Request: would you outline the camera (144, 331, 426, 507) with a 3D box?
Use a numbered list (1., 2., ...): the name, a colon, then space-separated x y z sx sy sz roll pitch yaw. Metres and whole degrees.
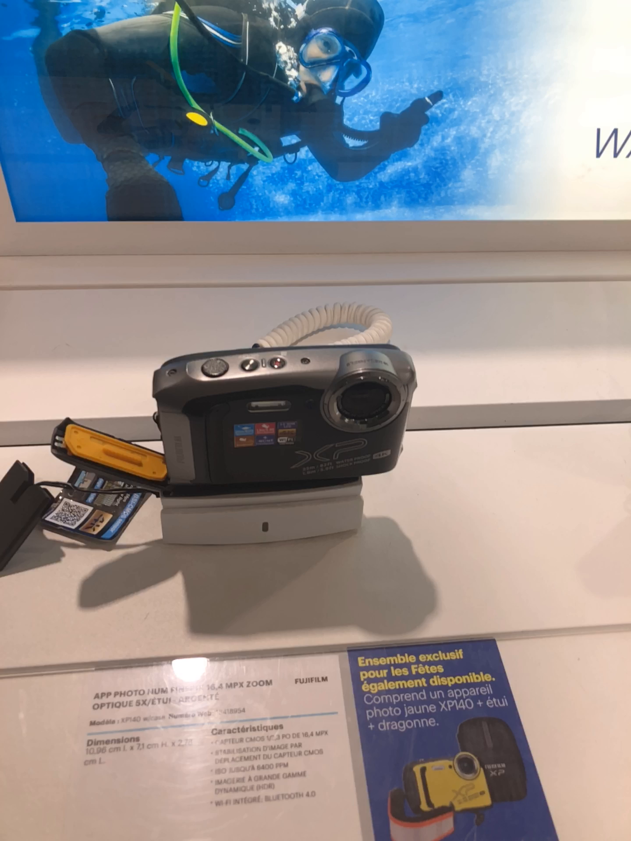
1. camera: -0.013 0.000 0.292 0.106 0.069 0.023 -4 43 -8
